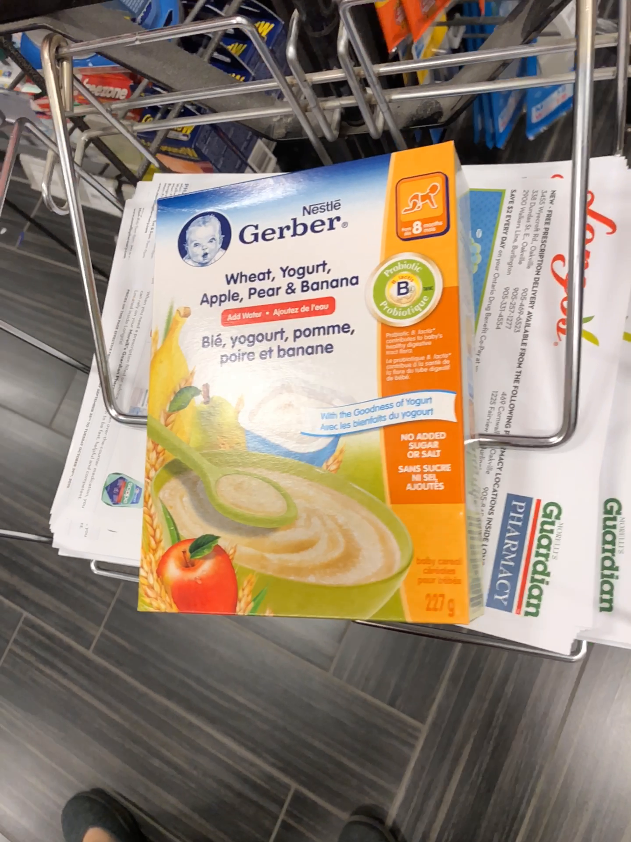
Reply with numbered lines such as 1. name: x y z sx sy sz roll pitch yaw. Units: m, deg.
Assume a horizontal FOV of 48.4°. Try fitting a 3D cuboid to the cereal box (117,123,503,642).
1. cereal box: -0.002 -0.012 0.310 0.150 0.050 0.200 -4 76 21
